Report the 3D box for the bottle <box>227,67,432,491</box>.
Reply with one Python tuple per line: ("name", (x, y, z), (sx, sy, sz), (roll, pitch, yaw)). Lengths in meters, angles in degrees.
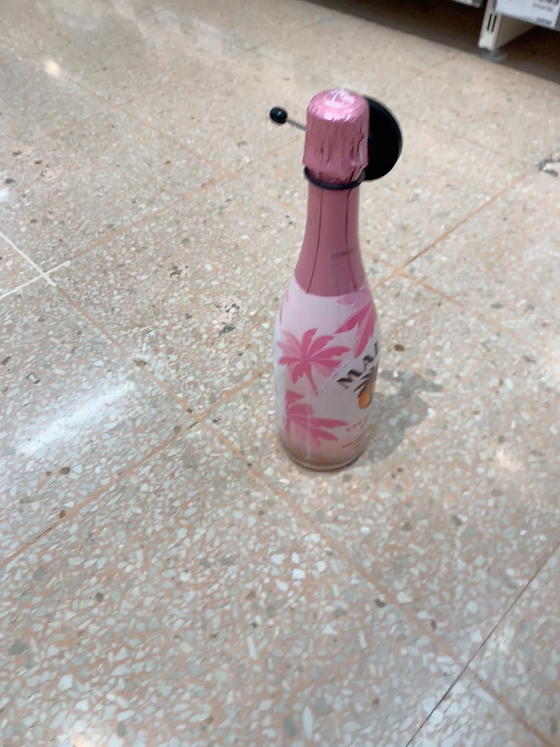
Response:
("bottle", (0.033, -0.038, 0.419), (0.080, 0.307, 0.081), (-1, 50, 1))
